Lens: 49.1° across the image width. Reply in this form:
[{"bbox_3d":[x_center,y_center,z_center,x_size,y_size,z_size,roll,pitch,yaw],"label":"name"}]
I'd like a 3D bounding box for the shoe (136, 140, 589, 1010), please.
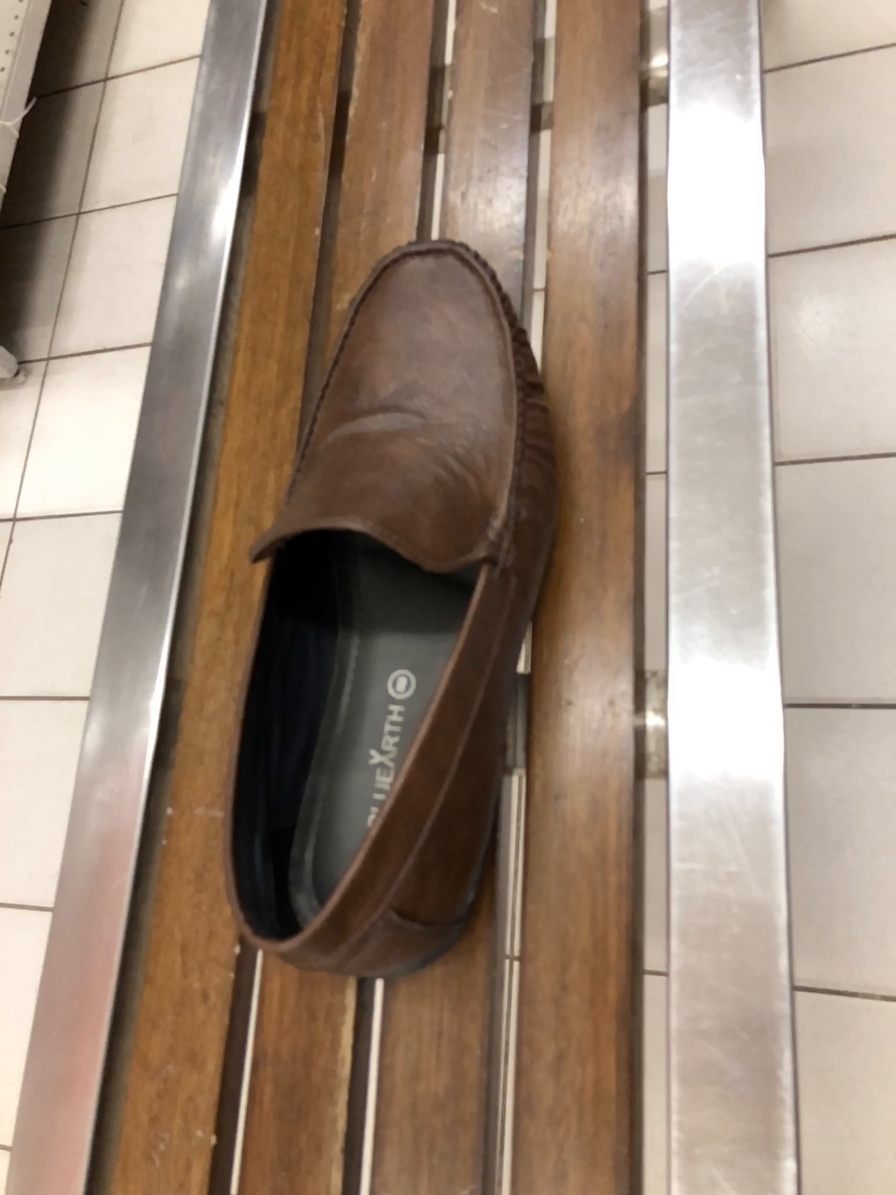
[{"bbox_3d":[-0.018,-0.012,0.358,0.090,0.090,0.280,2,74,22],"label":"shoe"}]
